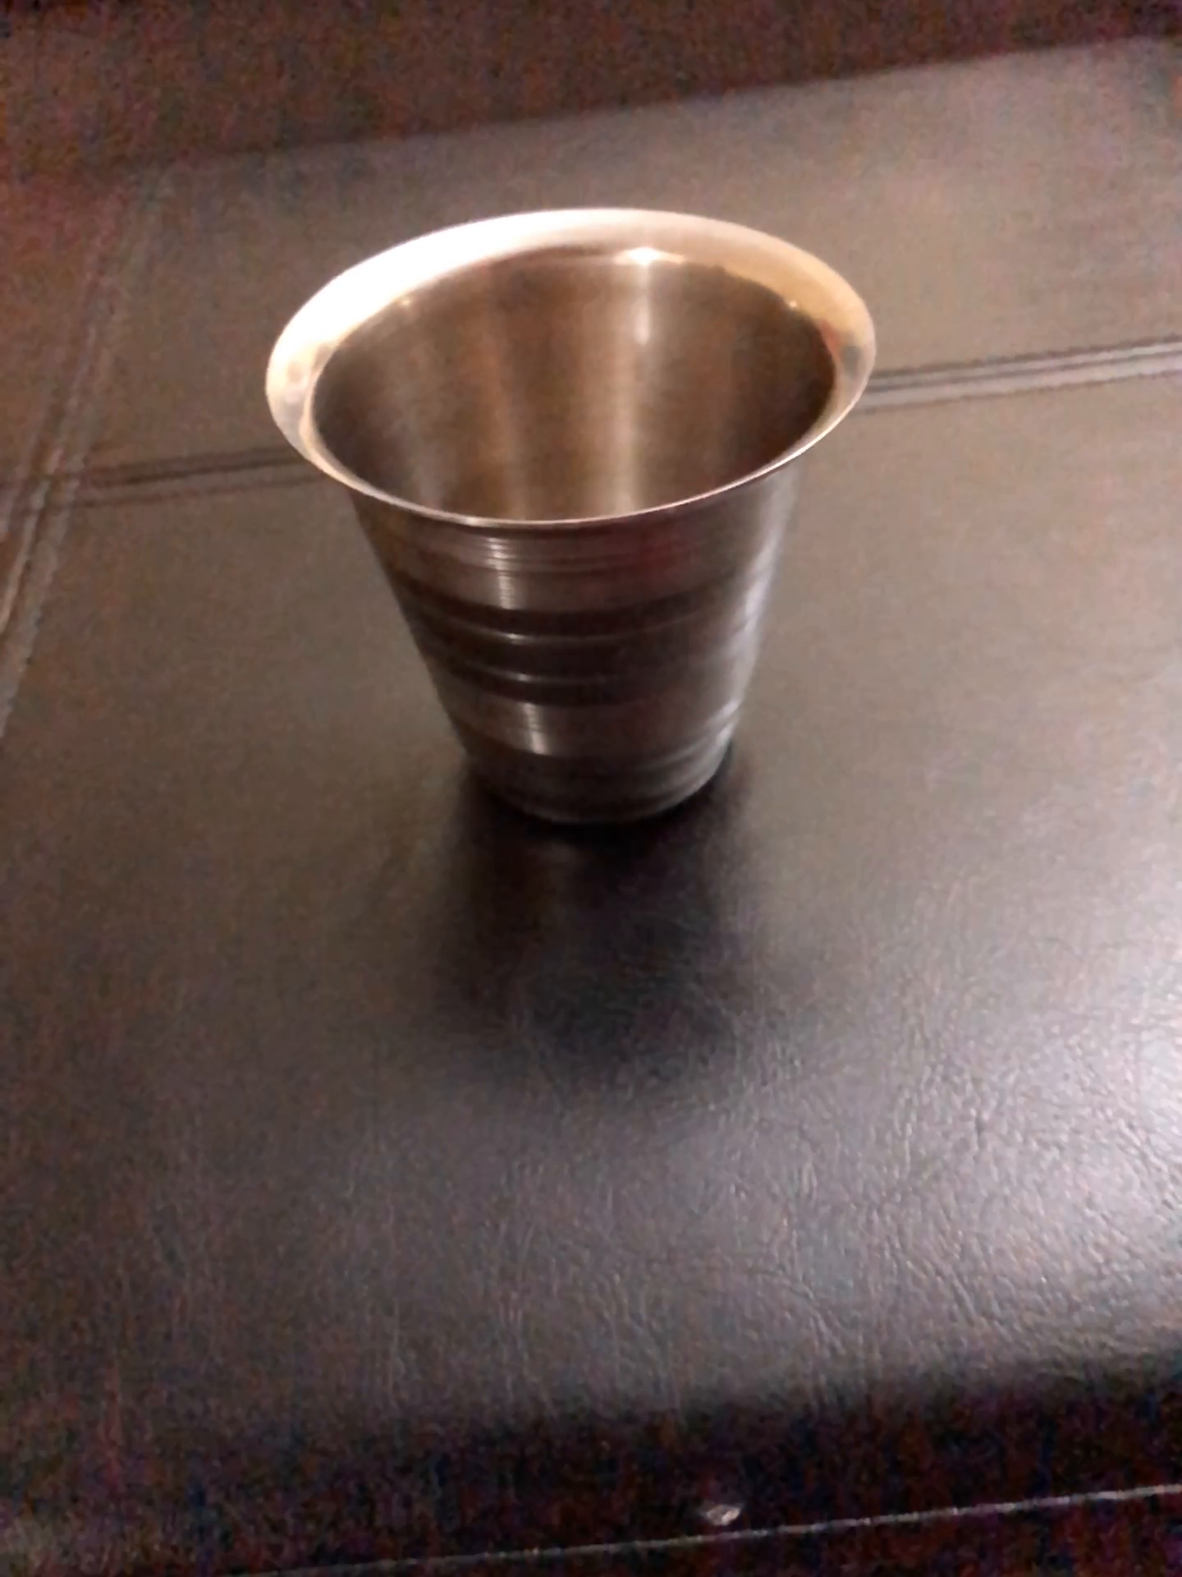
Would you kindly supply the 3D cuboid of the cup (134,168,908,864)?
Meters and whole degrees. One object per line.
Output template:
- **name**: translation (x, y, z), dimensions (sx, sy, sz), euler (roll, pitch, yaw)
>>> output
- **cup**: translation (-0.001, -0.036, 0.167), dimensions (0.074, 0.052, 0.067), euler (-4, 46, 4)
